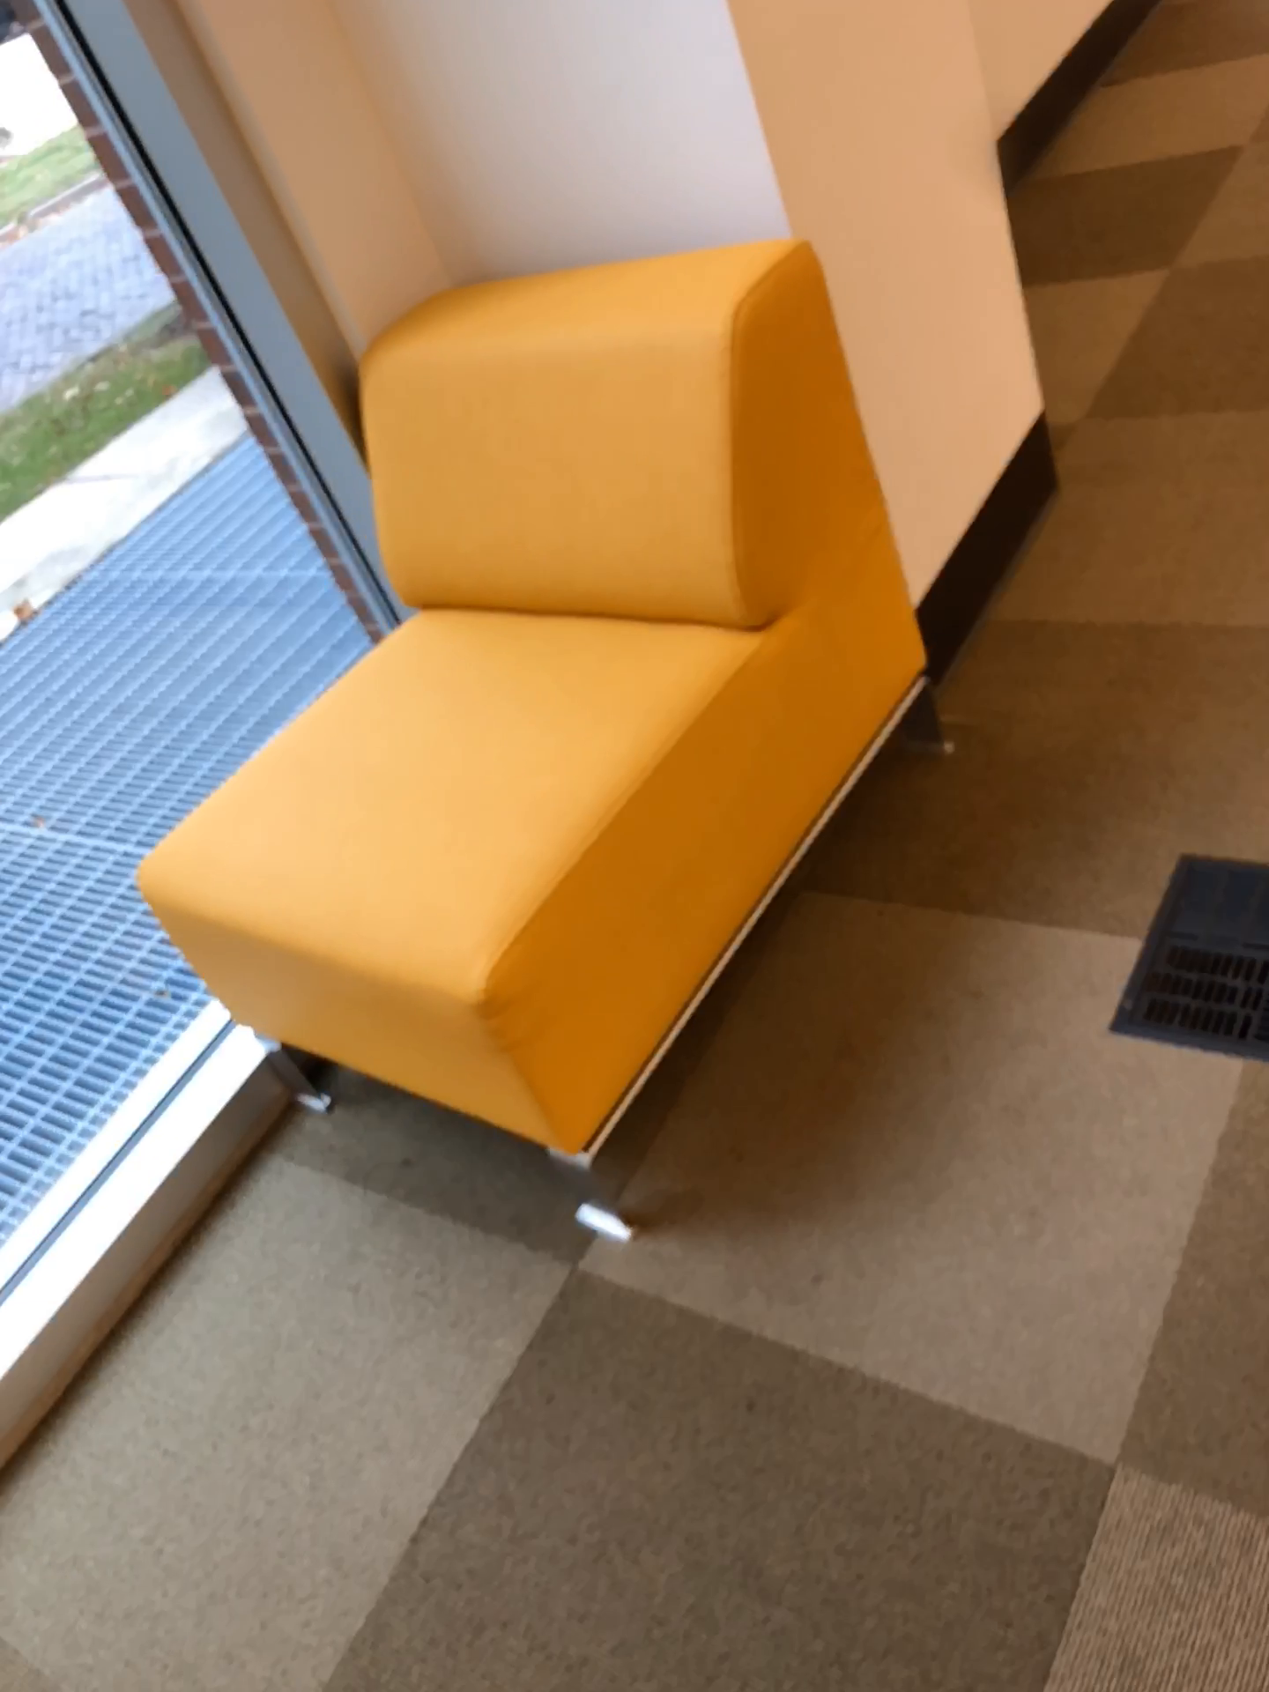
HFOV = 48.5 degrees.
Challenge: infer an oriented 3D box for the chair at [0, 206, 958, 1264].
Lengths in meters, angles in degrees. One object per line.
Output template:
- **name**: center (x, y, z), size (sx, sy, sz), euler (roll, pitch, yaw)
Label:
- **chair**: center (-0.167, -0.165, 1.725), size (0.664, 0.759, 0.873), euler (10, 49, 38)
